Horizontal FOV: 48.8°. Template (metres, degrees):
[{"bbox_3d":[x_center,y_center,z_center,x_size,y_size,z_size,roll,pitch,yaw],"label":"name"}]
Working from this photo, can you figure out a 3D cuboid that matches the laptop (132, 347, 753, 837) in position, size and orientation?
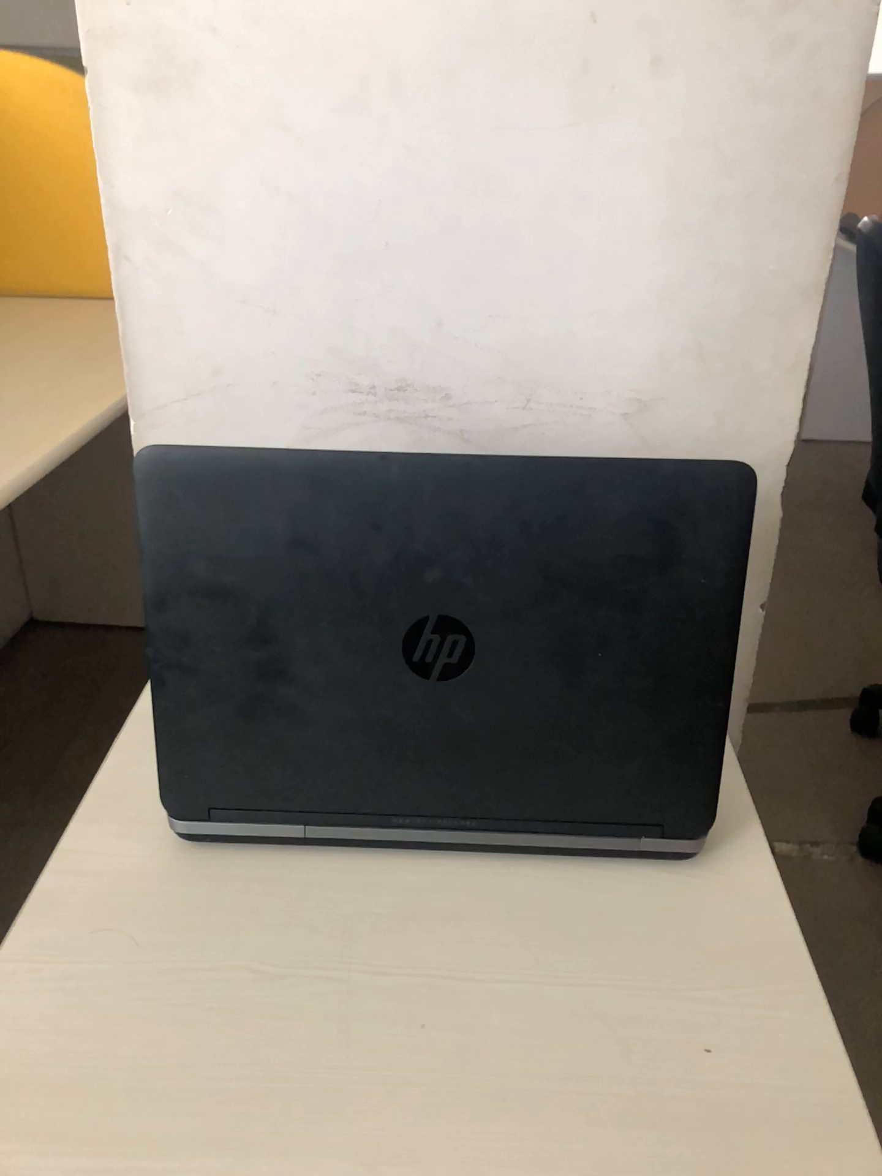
[{"bbox_3d":[0.003,-0.007,0.634,0.317,0.226,0.205,2,29,1],"label":"laptop"}]
